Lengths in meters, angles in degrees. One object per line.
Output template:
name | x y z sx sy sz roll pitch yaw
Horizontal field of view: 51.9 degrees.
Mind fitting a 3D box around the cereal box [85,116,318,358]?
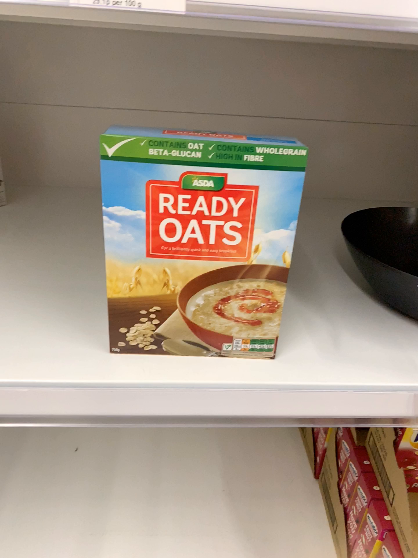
cereal box | -0.015 -0.041 0.500 0.220 0.258 0.081 2 27 -3
